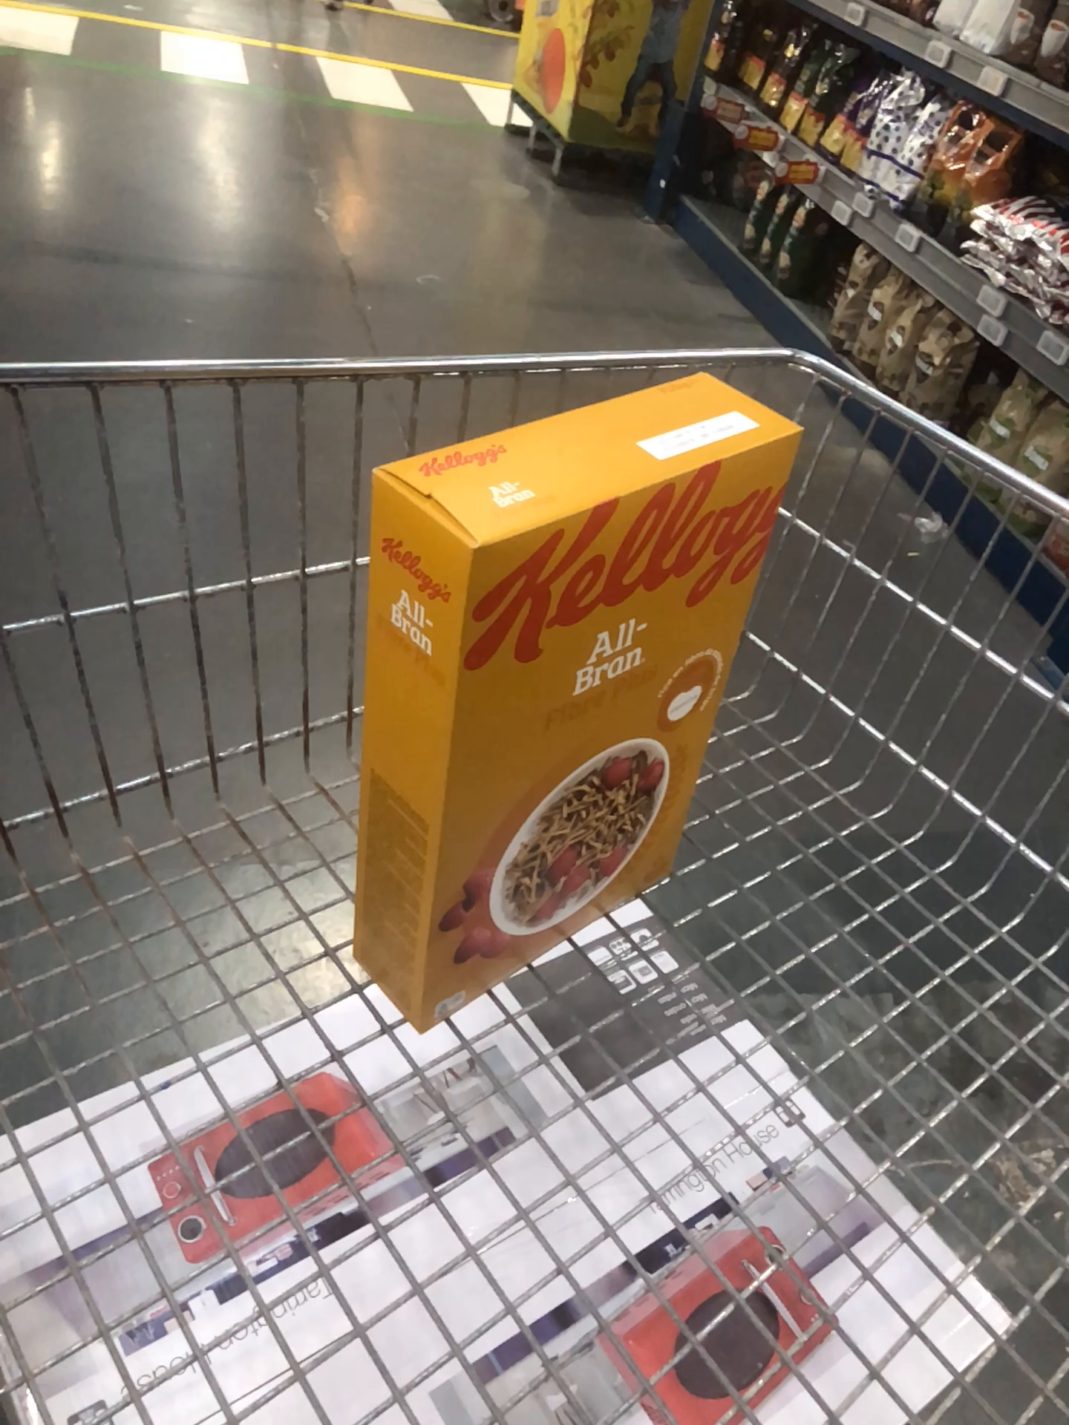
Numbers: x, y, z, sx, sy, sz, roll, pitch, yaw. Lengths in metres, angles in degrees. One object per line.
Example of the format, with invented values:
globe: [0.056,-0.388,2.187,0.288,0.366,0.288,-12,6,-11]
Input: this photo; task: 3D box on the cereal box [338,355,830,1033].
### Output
cereal box: [0.012,-0.003,0.570,0.201,0.289,0.070,-26,52,-34]
